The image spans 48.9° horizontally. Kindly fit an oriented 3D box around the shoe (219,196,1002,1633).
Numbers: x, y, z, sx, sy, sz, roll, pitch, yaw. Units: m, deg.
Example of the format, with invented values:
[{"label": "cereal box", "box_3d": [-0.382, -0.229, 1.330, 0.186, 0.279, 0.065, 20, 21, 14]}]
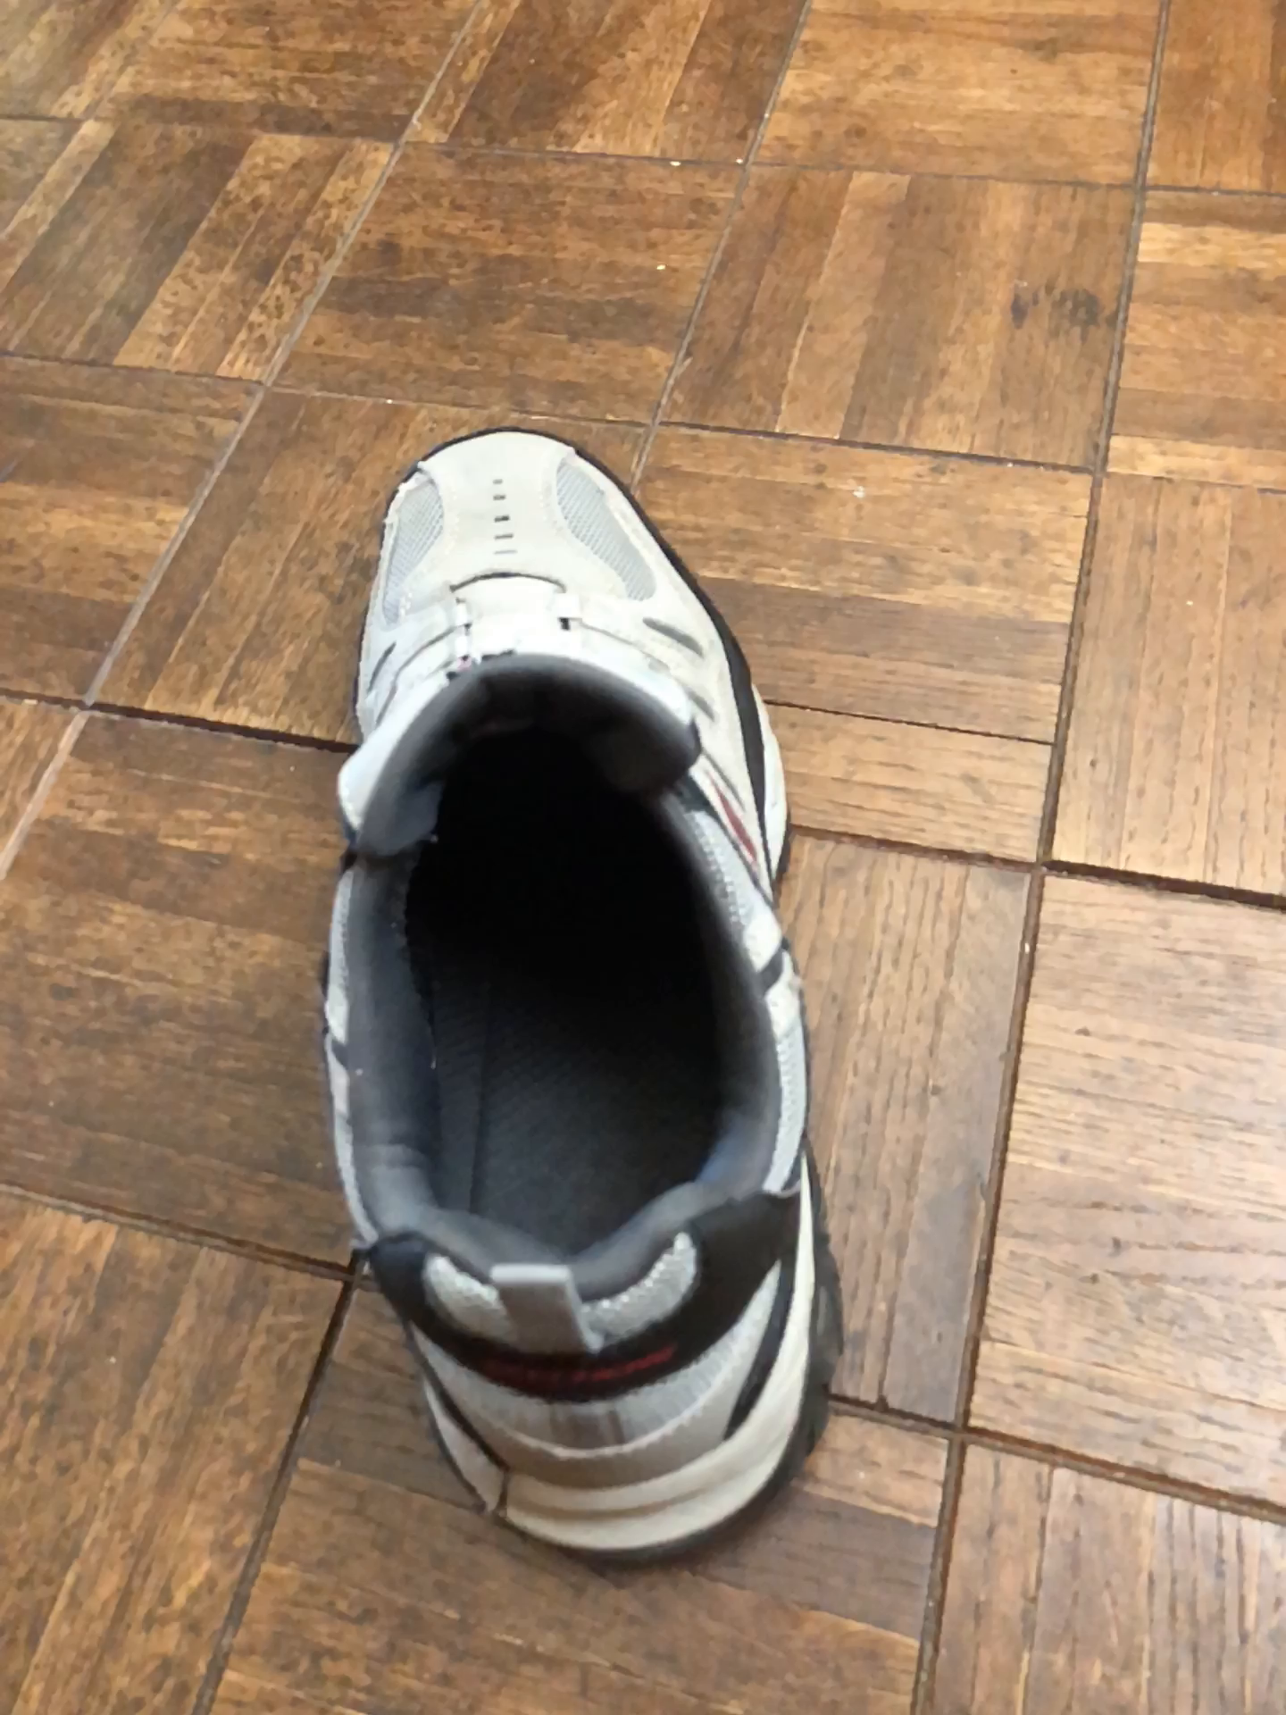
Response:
[{"label": "shoe", "box_3d": [-0.018, 0.005, 0.362, 0.120, 0.150, 0.320, -9, 59, 1]}]
